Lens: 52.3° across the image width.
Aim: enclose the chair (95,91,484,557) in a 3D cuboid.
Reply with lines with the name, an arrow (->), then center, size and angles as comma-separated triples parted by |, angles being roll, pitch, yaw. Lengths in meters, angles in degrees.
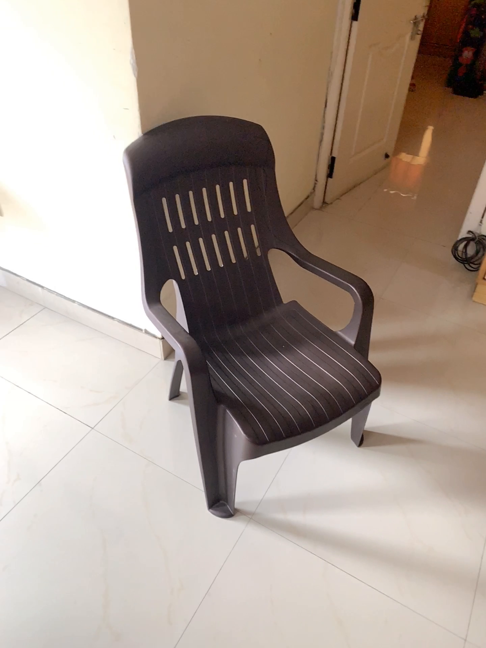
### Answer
chair -> 0.049, -0.001, 1.434 | 0.601, 1.031, 0.664 | -19, 45, -23
